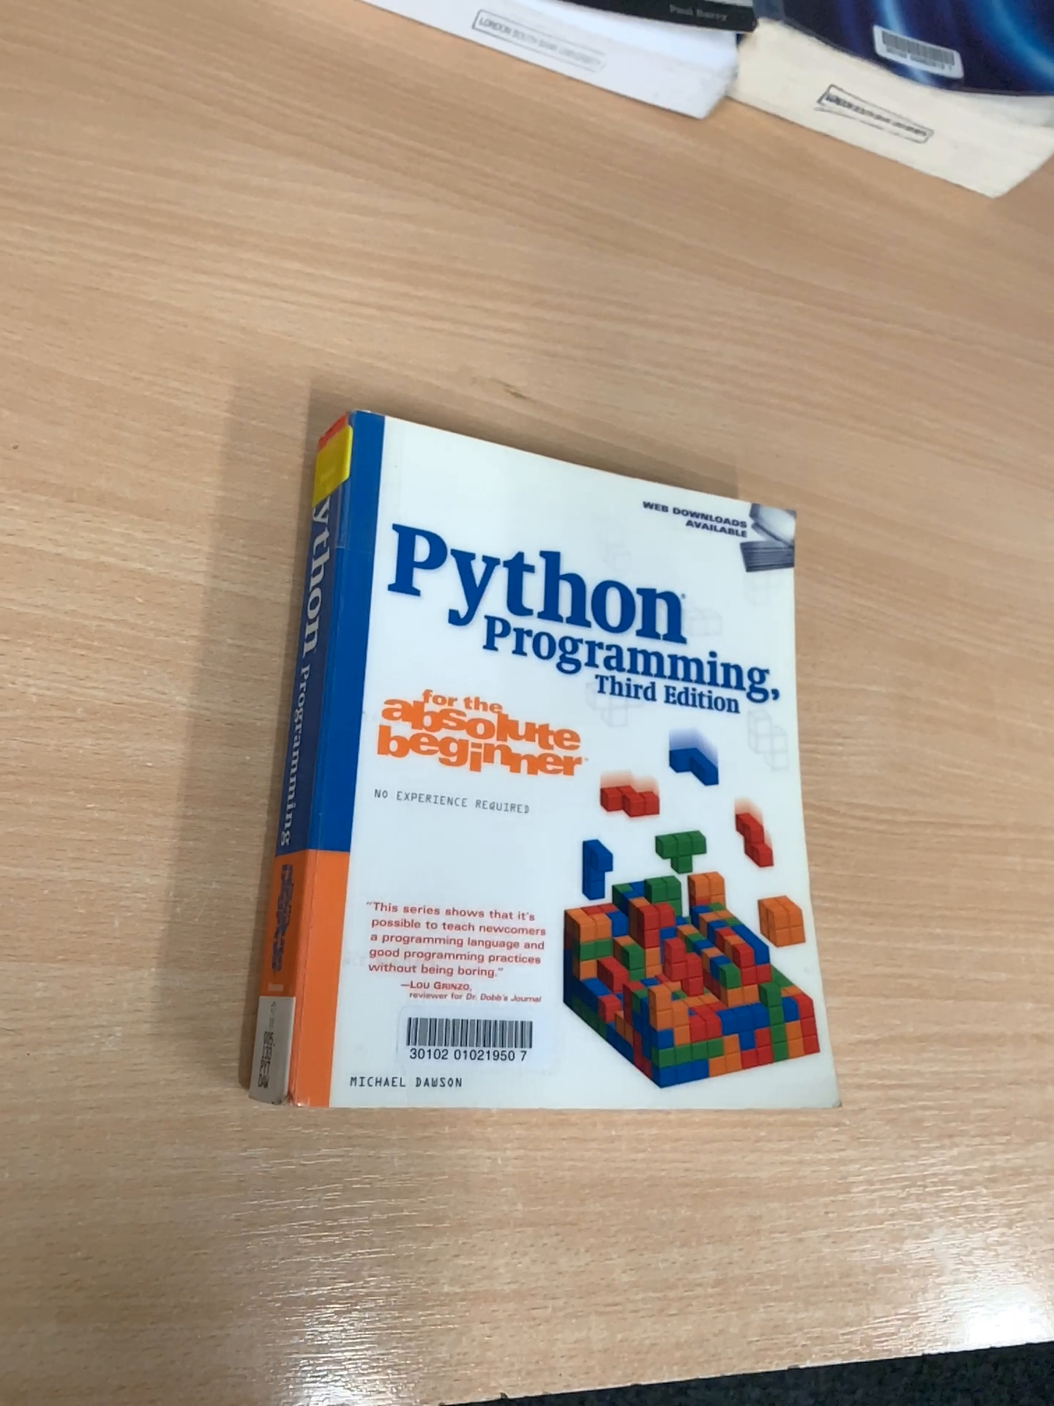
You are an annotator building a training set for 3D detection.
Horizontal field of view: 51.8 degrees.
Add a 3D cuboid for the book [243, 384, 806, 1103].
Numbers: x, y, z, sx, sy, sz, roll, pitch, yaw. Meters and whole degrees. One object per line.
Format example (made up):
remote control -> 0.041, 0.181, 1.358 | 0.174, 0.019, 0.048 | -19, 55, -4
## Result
book -> 0.007, 0.018, 0.371 | 0.175, 0.039, 0.219 | 8, 73, -20
